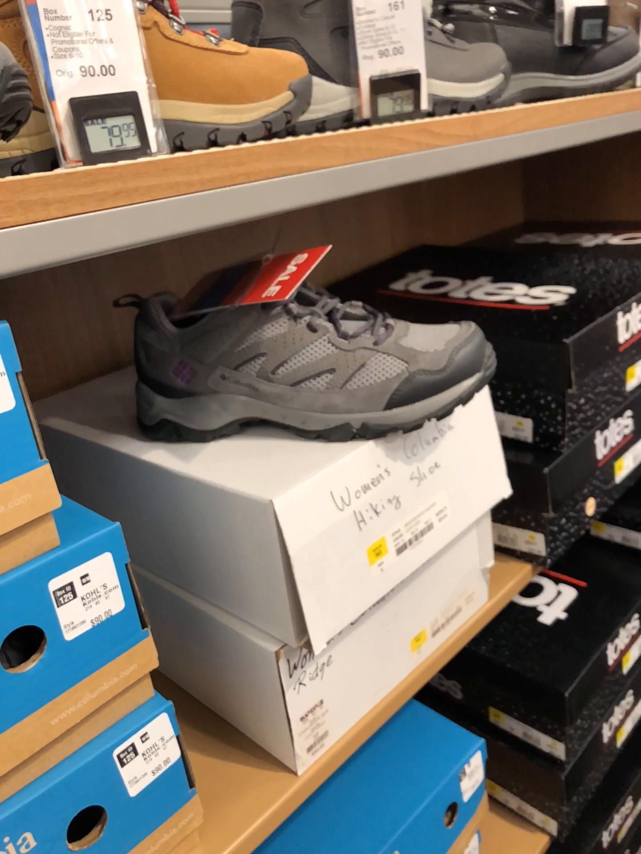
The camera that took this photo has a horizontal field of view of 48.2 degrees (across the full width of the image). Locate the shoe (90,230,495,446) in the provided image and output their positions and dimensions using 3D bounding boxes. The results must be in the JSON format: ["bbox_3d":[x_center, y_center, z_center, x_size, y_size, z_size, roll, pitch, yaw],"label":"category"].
[{"bbox_3d":[-0.012,-0.067,0.536,0.267,0.114,0.104,-4,22,11],"label":"shoe"}]
